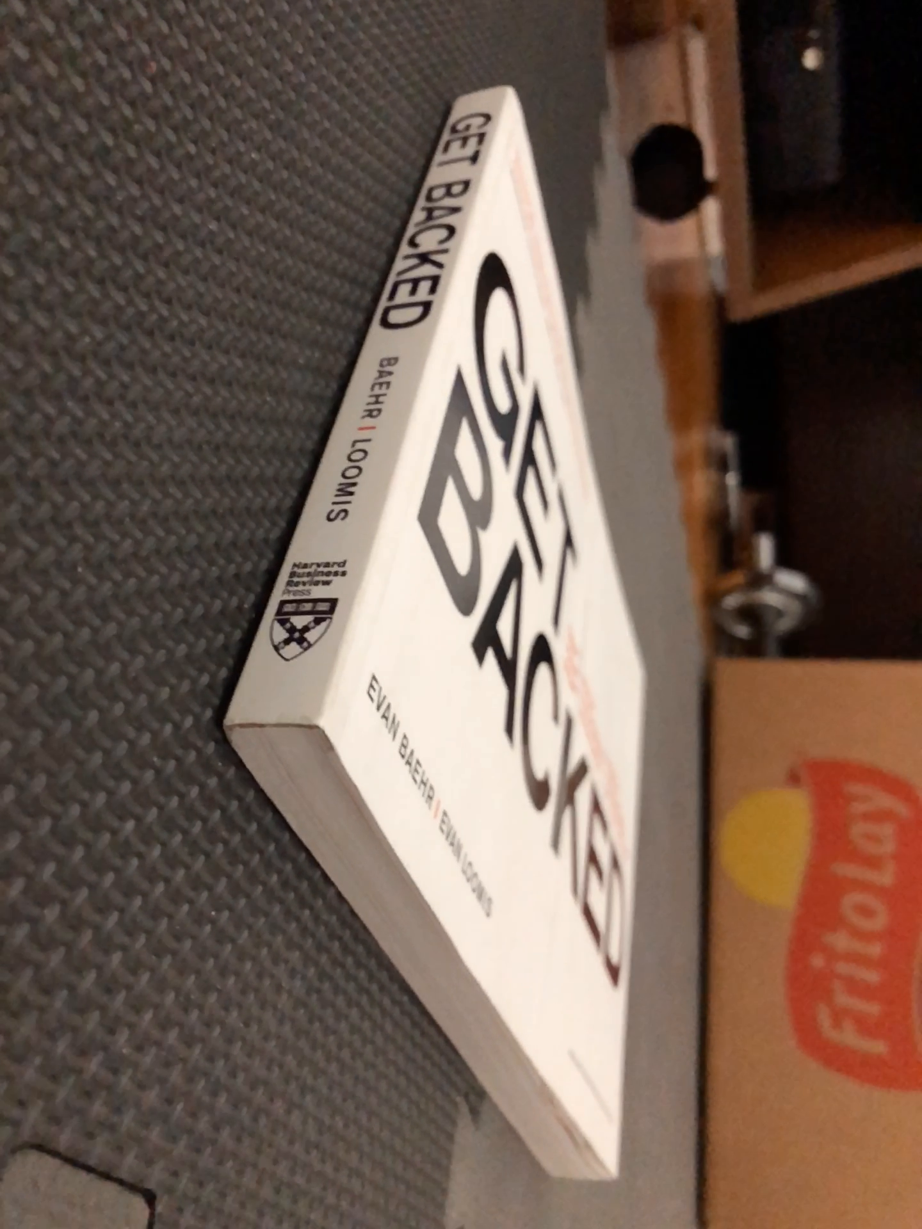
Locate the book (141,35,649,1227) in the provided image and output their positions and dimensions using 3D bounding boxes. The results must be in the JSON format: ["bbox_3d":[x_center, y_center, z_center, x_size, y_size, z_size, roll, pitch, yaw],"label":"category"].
[{"bbox_3d":[0.020,0.021,0.289,0.260,0.020,0.211,68,26,-46],"label":"book"}]
